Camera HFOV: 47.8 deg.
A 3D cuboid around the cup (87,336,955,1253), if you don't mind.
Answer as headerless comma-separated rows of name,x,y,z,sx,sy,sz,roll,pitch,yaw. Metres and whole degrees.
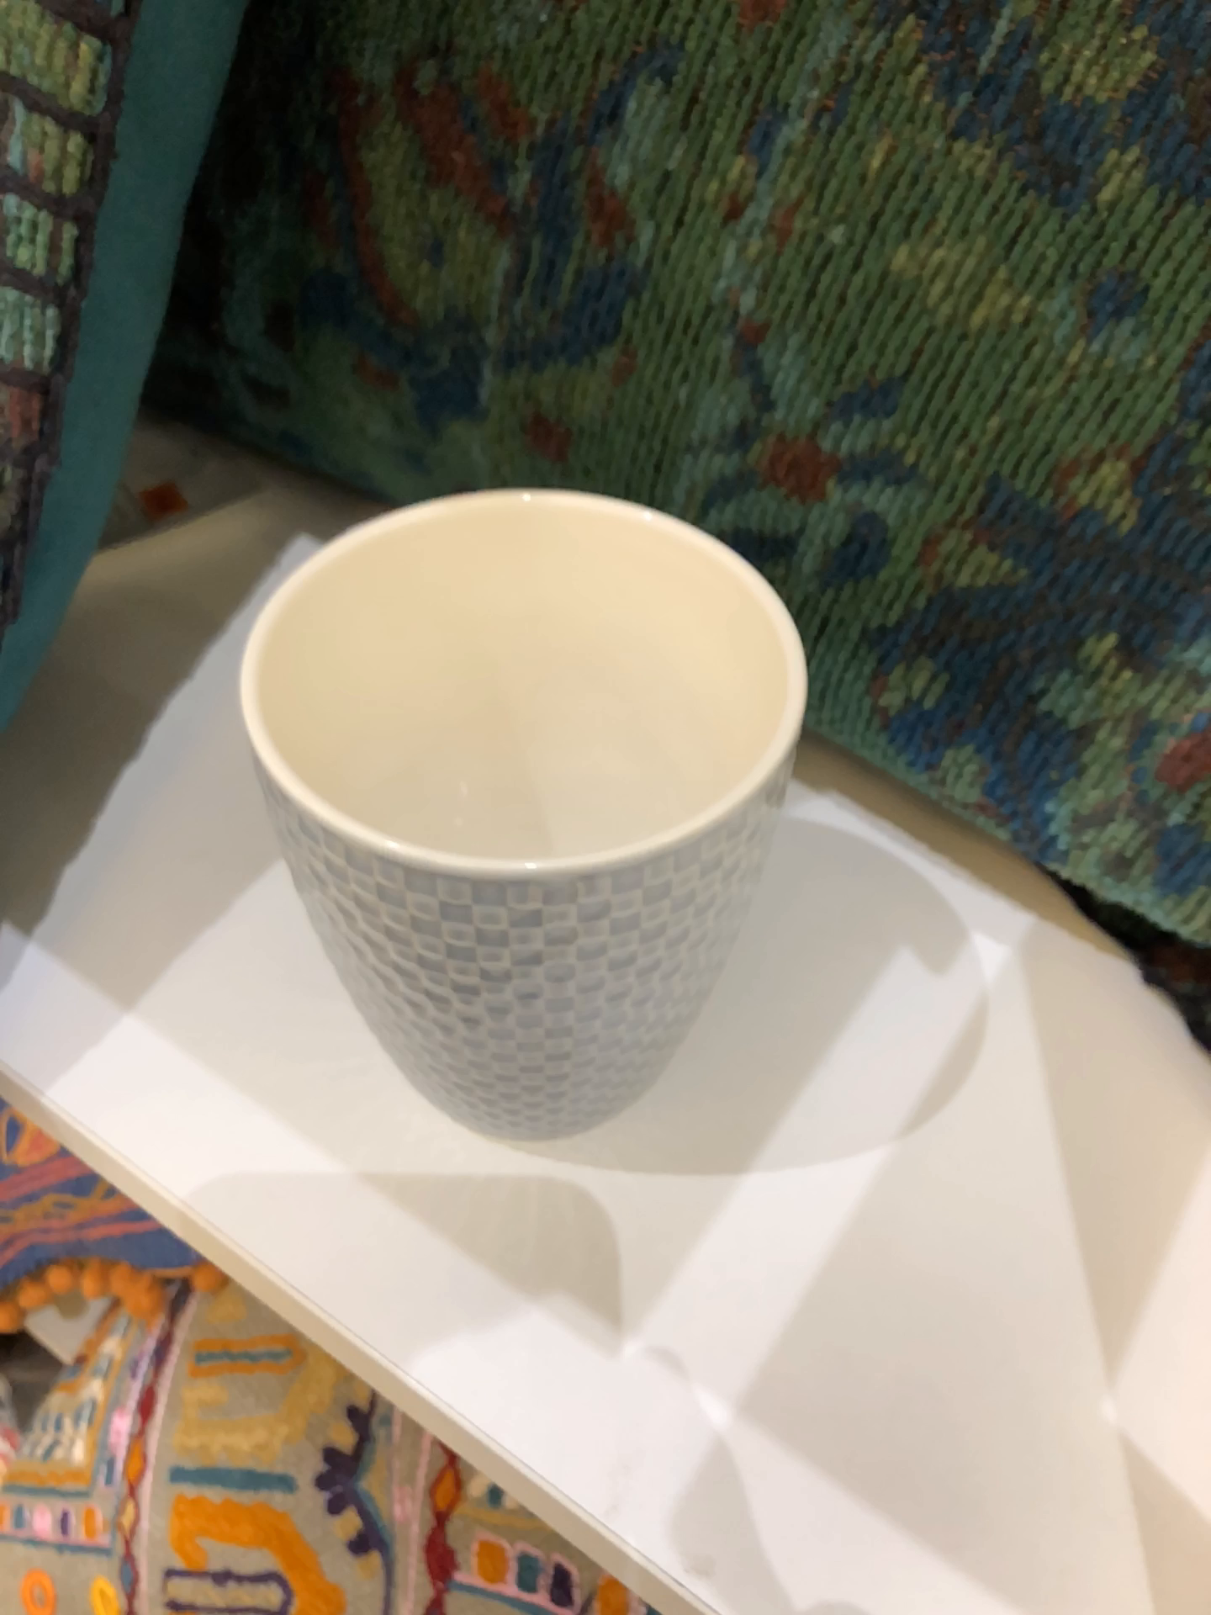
cup,-0.018,-0.007,0.223,0.090,0.079,0.101,-20,51,-18
